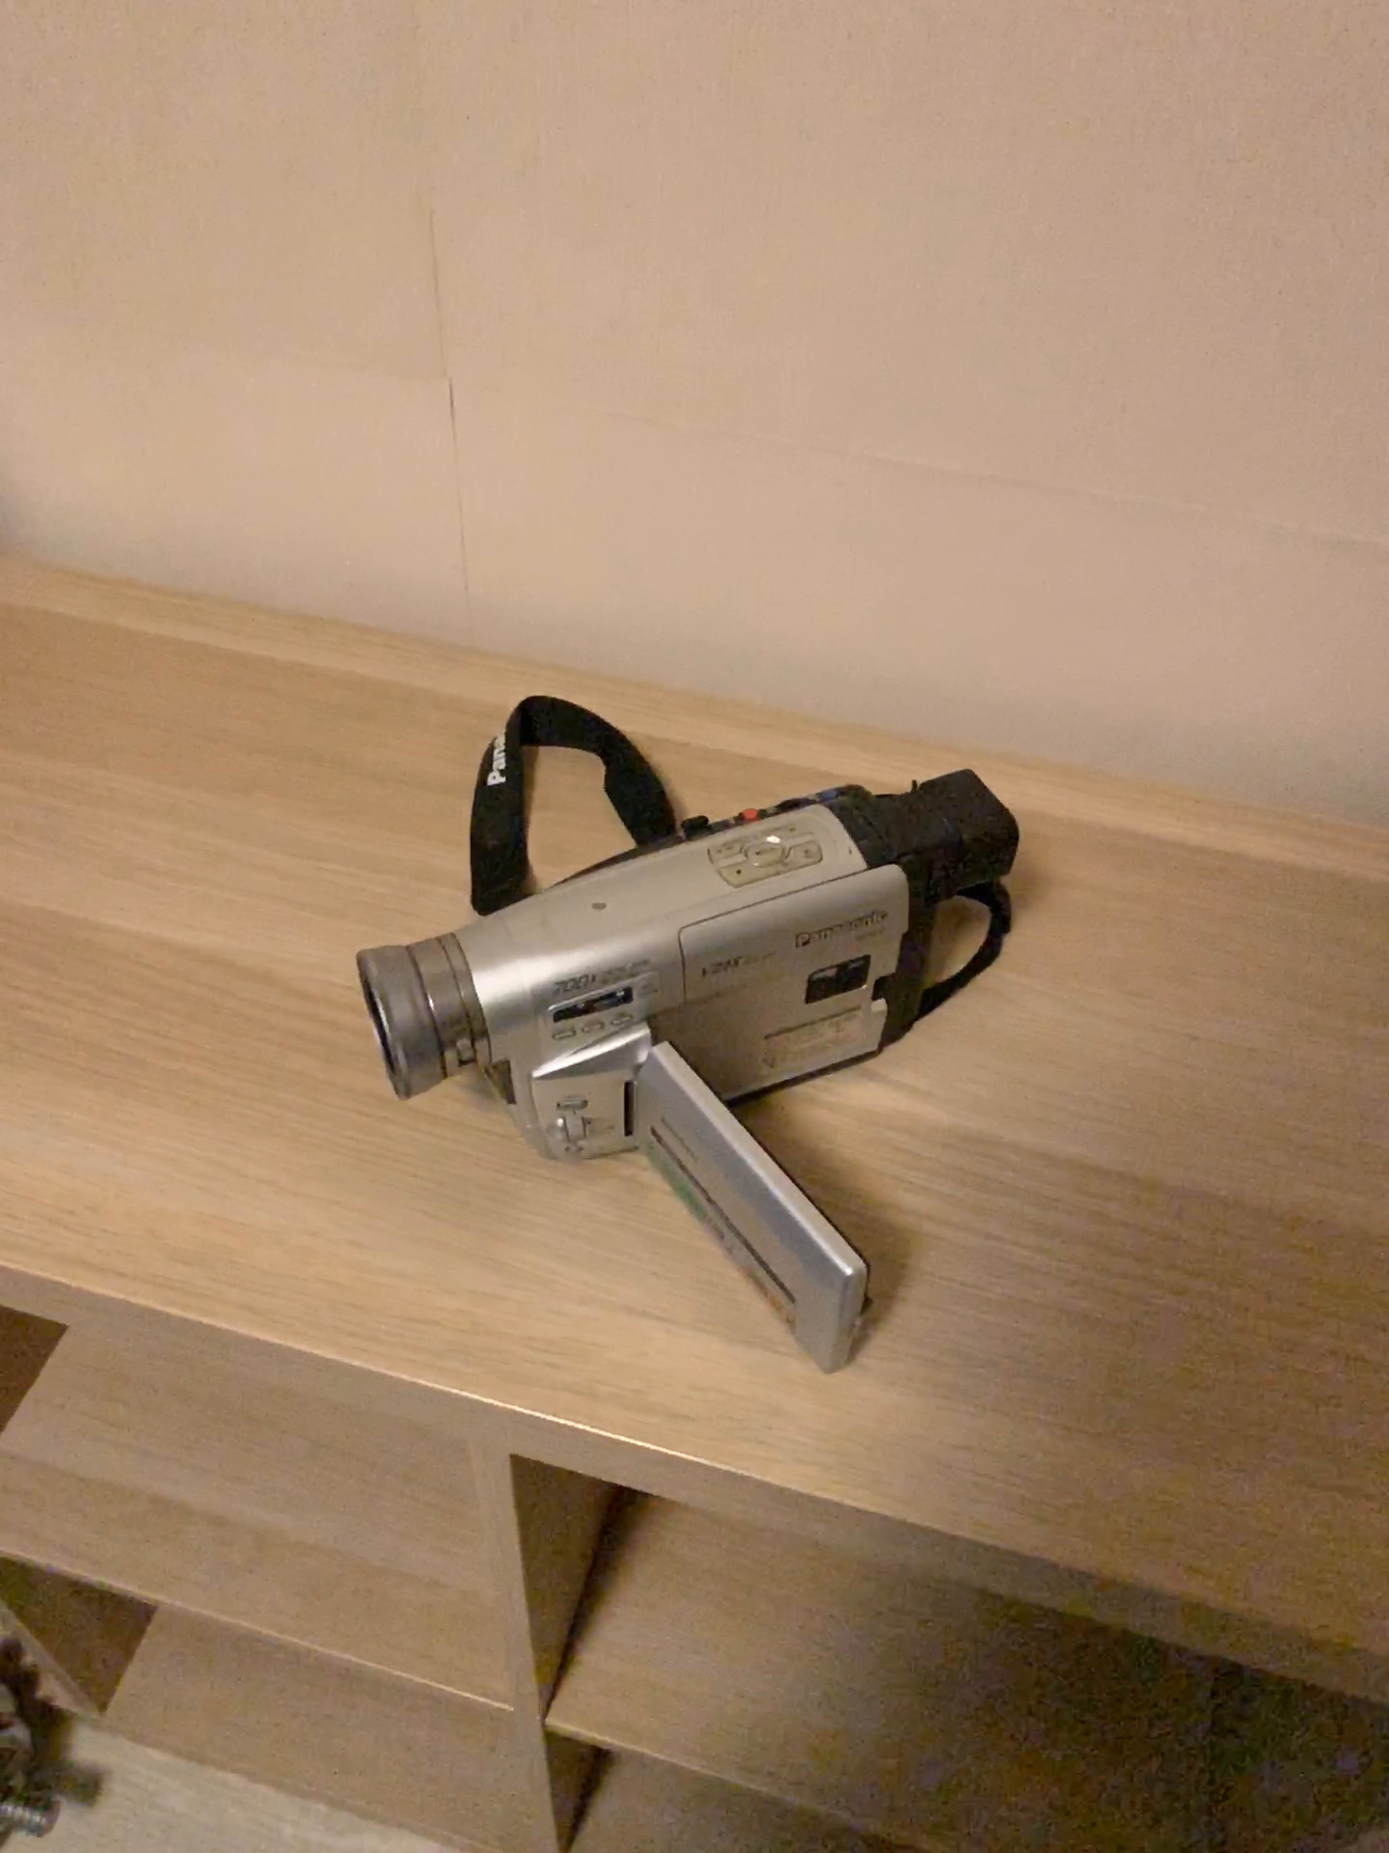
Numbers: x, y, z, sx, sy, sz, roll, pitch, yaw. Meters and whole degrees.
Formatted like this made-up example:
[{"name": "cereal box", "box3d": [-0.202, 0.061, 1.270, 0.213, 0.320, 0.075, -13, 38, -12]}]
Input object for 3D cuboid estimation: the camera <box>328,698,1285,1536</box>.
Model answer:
[{"name": "camera", "box3d": [0.027, 0.048, 0.502, 0.246, 0.109, 0.204, -17, 48, -20]}]
